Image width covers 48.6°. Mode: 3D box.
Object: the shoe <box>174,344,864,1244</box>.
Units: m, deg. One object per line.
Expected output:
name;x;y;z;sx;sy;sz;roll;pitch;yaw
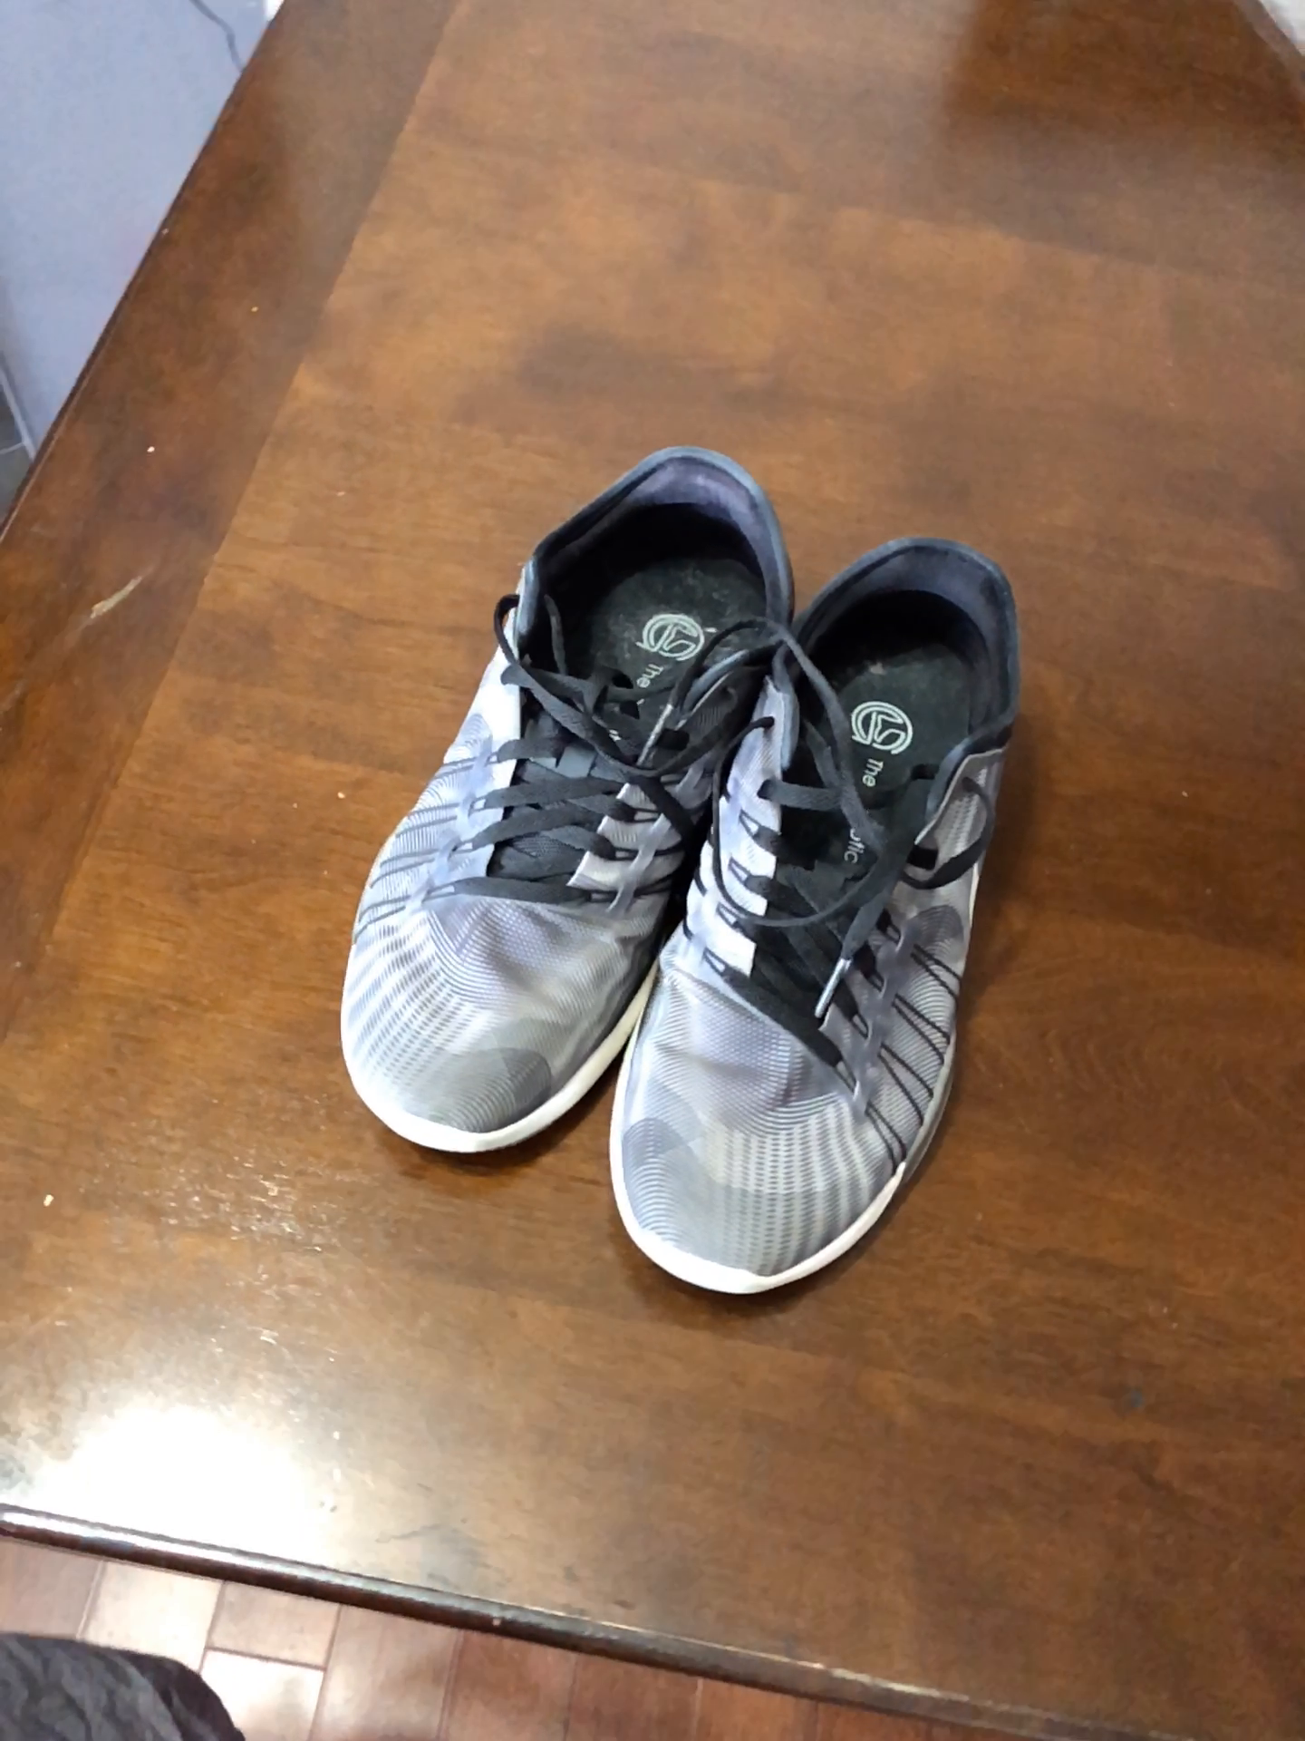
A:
shoe;-0.027;-0.029;0.418;0.100;0.090;0.230;20;61;6

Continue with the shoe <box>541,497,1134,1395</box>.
shoe;0.057;0.014;0.419;0.100;0.080;0.230;19;61;5
